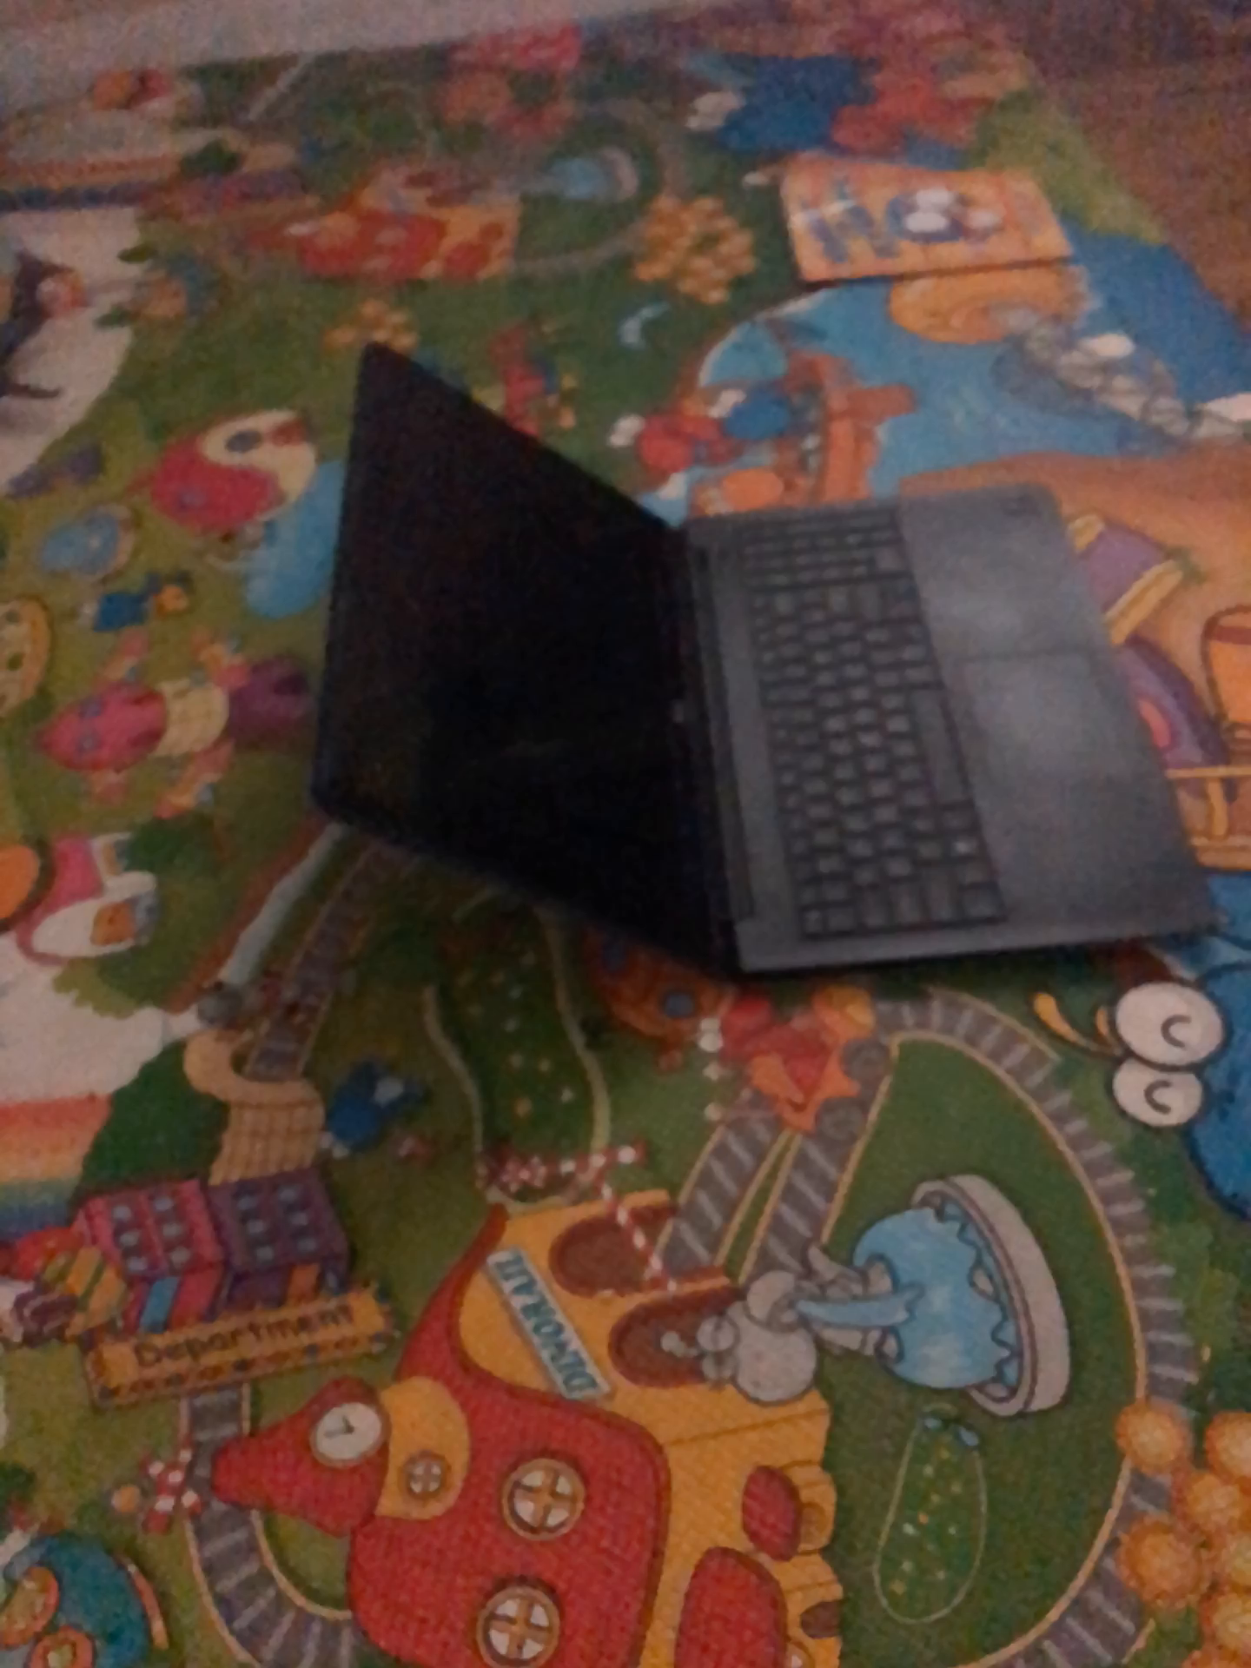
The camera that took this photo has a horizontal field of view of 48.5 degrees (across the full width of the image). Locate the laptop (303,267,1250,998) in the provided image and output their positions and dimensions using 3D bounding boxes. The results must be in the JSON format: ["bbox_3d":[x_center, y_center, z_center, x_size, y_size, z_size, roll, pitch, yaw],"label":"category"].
[{"bbox_3d":[0.070,-0.125,0.774,0.428,0.158,0.363,-5,51,1],"label":"laptop"}]
